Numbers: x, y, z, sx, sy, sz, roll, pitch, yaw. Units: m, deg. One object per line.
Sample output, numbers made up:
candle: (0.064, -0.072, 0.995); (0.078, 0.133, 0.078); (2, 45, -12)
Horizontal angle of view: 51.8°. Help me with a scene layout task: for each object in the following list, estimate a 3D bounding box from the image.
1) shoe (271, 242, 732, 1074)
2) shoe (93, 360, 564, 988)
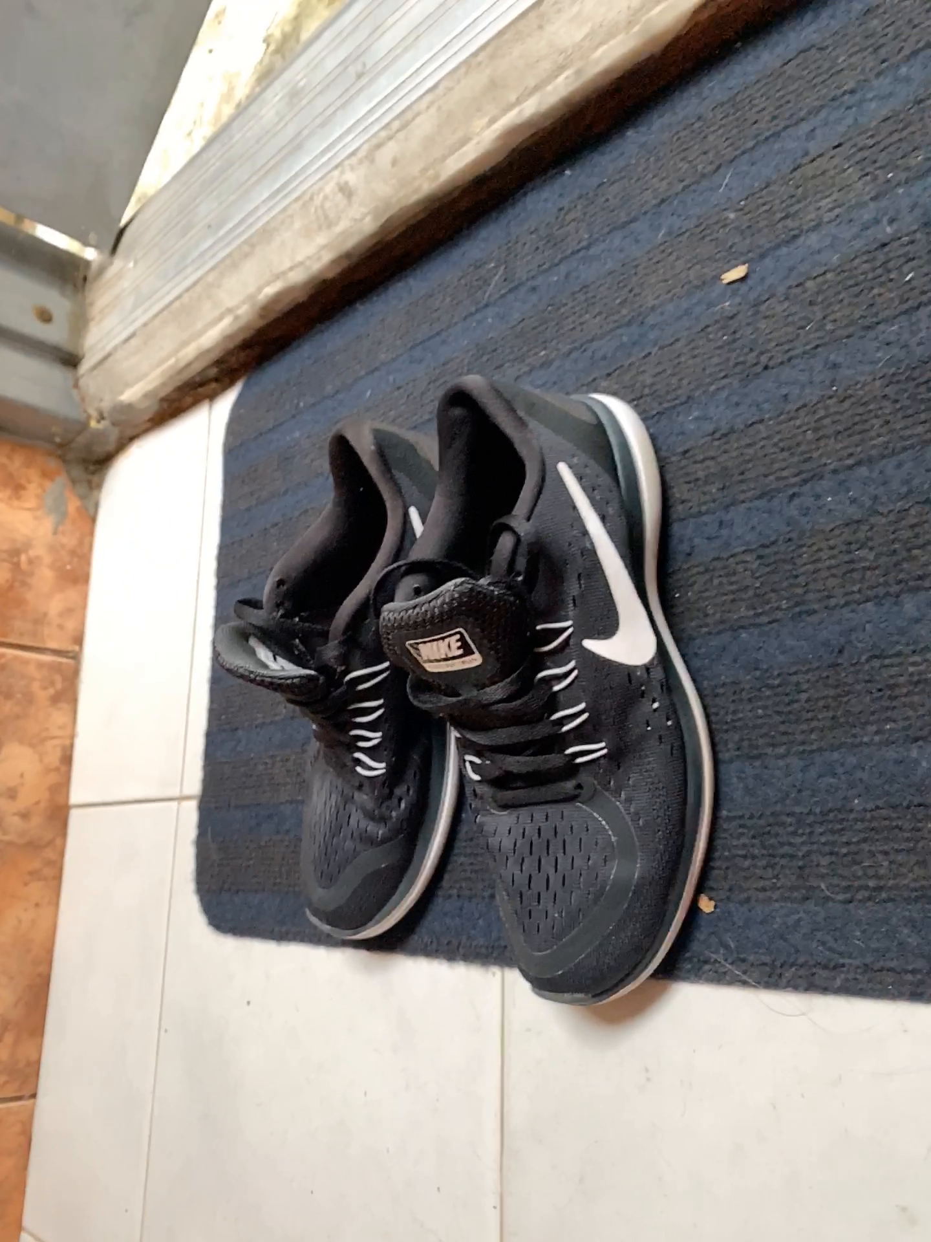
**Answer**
shoe: (0.017, 0.017, 0.358); (0.107, 0.118, 0.248); (-11, 72, 44)
shoe: (-0.064, 0.022, 0.443); (0.105, 0.118, 0.248); (17, 92, 47)
